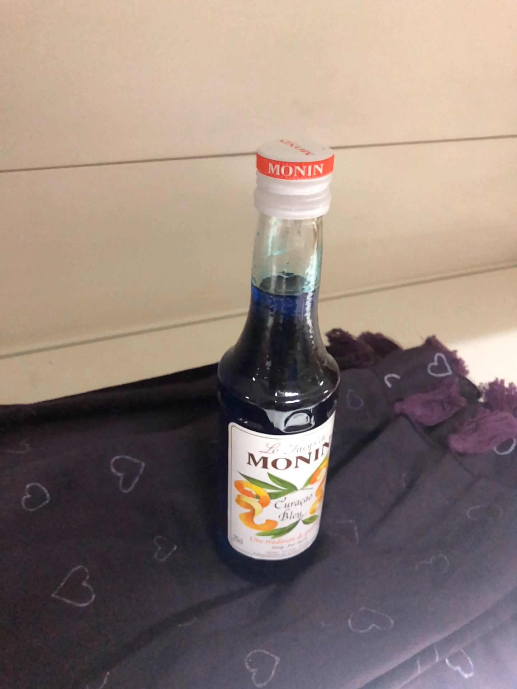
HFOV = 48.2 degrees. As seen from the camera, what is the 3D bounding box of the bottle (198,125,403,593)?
[{"bbox_3d":[0.011,0.015,0.265,0.060,0.209,0.050,-10,32,-20],"label":"bottle"}]
